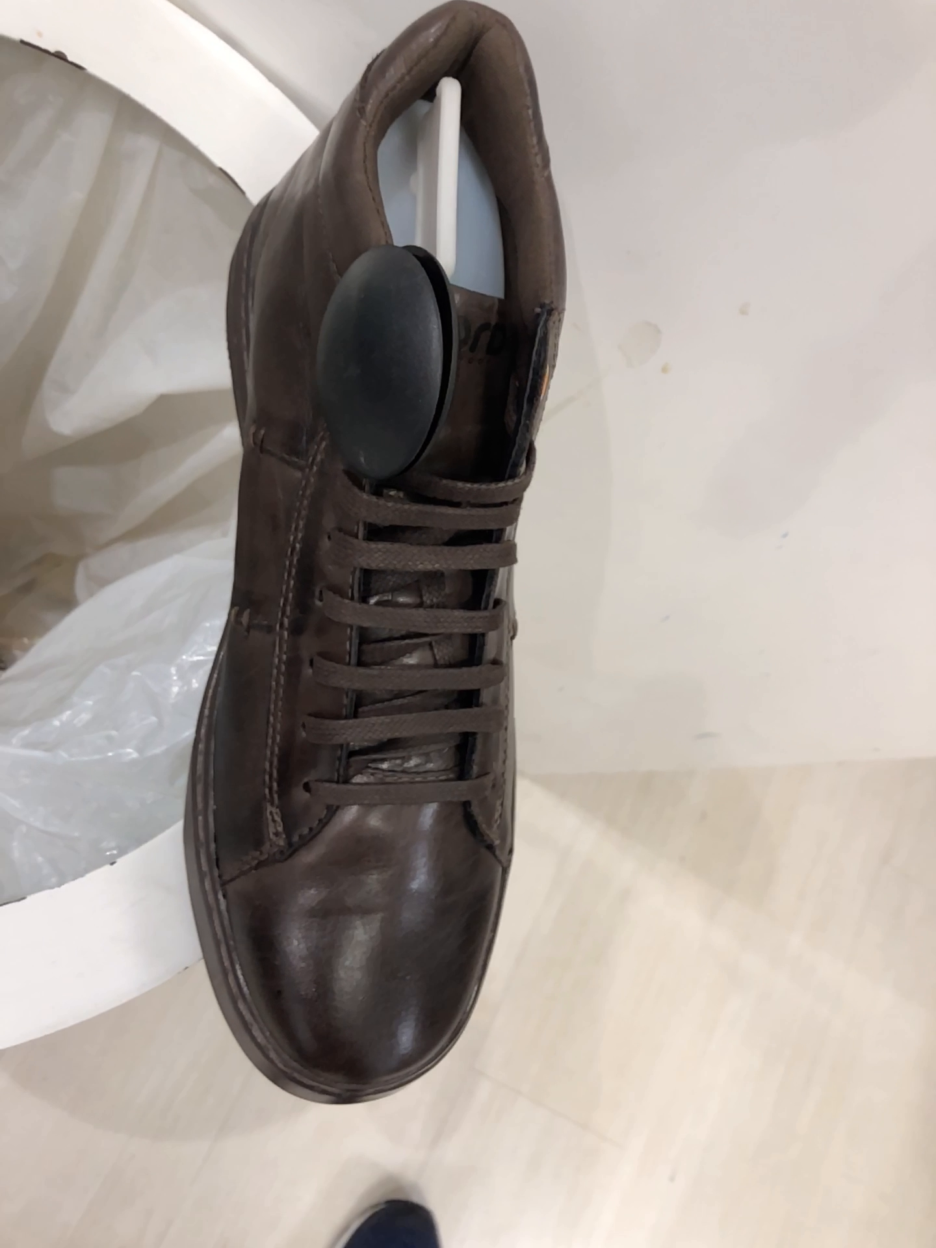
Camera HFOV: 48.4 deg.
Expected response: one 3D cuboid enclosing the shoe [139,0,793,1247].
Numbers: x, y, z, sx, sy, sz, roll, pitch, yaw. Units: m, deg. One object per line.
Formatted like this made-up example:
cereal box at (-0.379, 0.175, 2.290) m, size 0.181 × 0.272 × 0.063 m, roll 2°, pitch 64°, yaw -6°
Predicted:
shoe at (-0.013, -0.011, 0.287) m, size 0.120 × 0.139 × 0.270 m, roll 4°, pitch 80°, yaw -24°
